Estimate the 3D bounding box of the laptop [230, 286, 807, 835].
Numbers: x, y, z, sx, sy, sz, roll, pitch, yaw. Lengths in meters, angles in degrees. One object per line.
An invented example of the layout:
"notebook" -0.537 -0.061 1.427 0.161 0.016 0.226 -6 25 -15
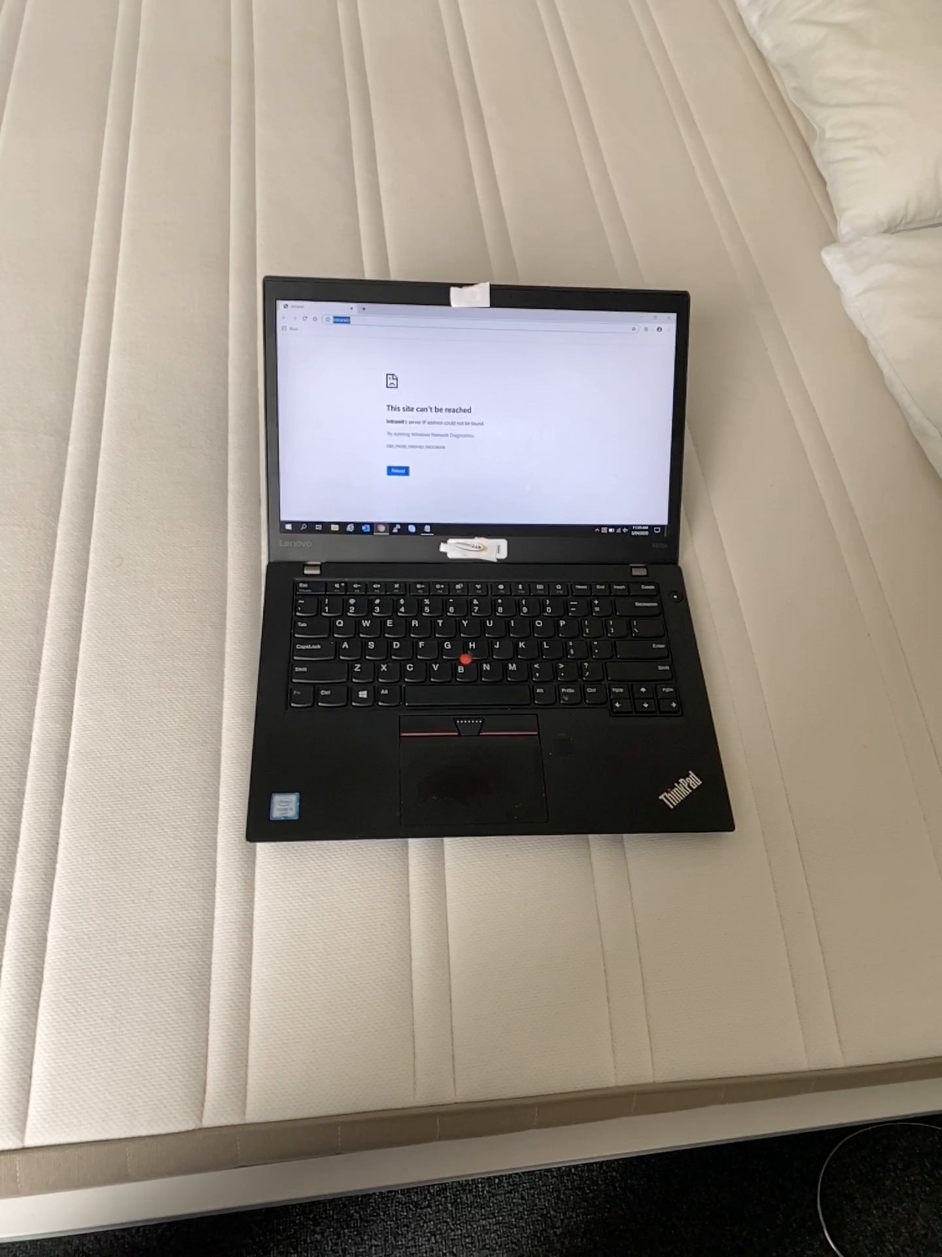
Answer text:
"laptop" 0.015 -0.058 0.678 0.320 0.120 0.382 1 57 -8
